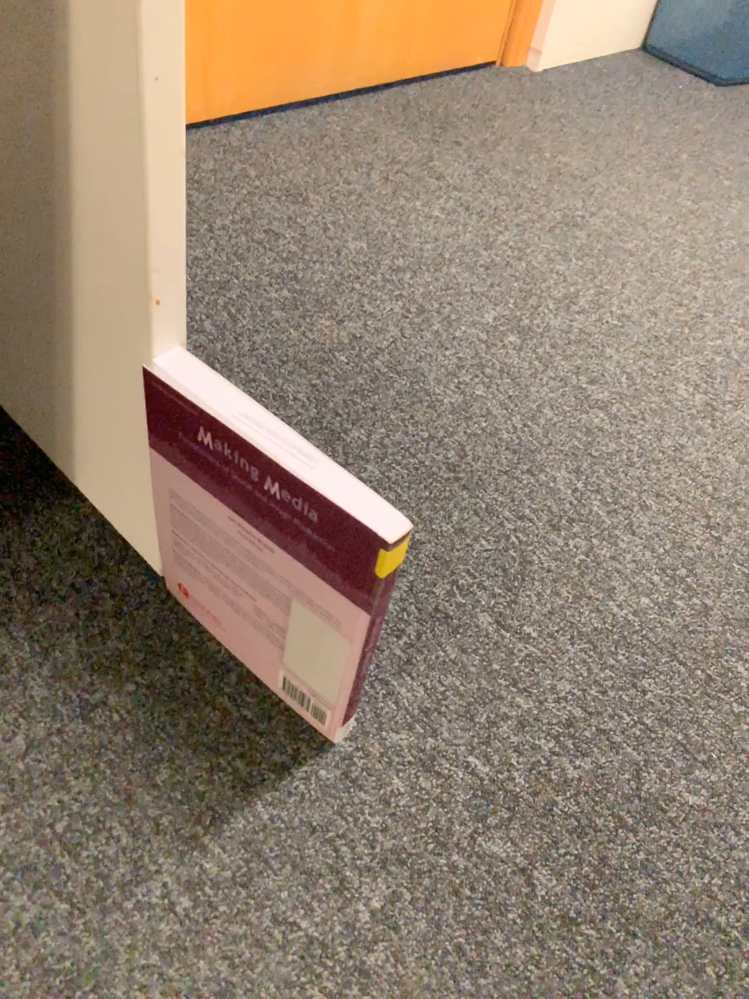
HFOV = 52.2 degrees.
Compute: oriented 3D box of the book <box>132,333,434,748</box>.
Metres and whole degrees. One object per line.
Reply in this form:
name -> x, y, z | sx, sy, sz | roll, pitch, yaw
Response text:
book -> -0.073, 0.038, 0.509 | 0.201, 0.228, 0.036 | 37, 52, 20
